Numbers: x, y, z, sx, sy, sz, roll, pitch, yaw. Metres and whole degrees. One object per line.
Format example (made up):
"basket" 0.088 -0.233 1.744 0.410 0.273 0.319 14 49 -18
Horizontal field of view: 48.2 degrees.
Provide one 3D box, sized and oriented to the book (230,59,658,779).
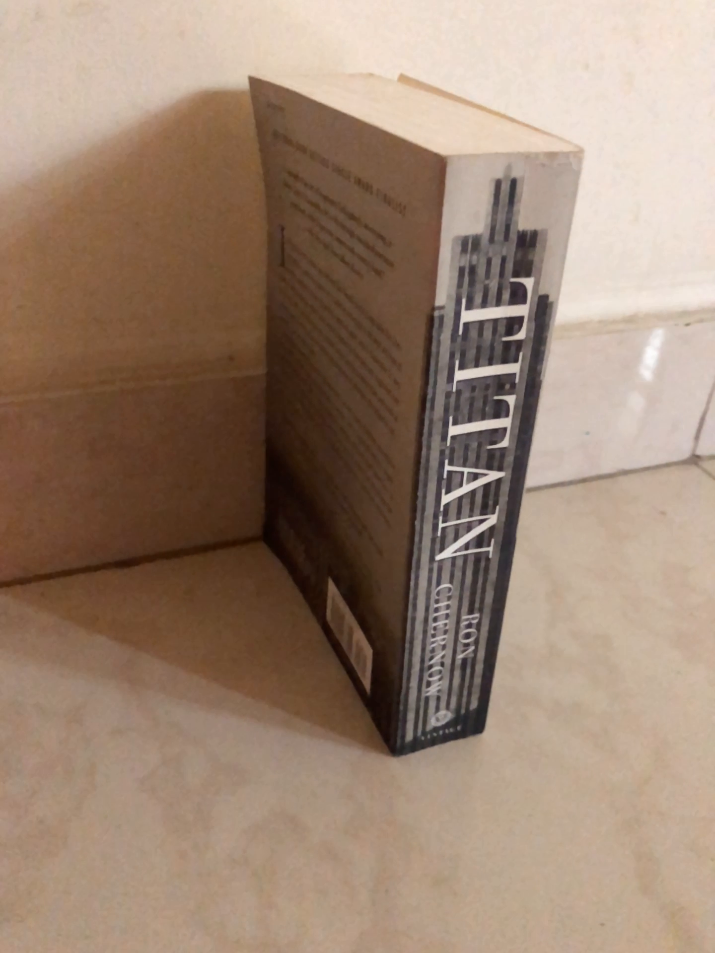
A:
"book" 0.008 -0.036 0.335 0.060 0.229 0.201 -11 35 -20
